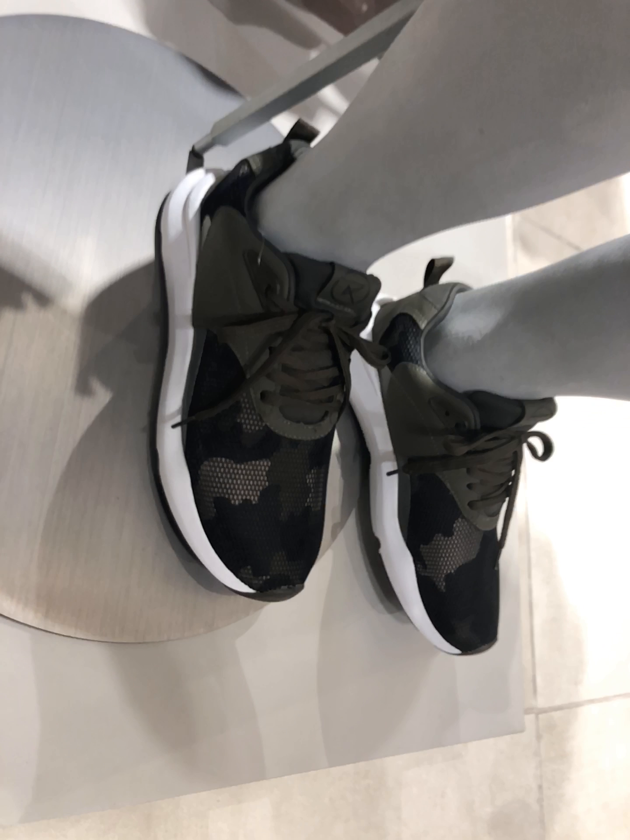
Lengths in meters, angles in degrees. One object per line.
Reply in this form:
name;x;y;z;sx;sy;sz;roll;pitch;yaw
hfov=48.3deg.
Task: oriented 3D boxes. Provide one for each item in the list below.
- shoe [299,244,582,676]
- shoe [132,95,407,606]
shoe;0.092;0.025;0.524;0.111;0.109;0.280;-10;87;-42
shoe;-0.034;-0.029;0.424;0.101;0.119;0.260;4;78;-41
